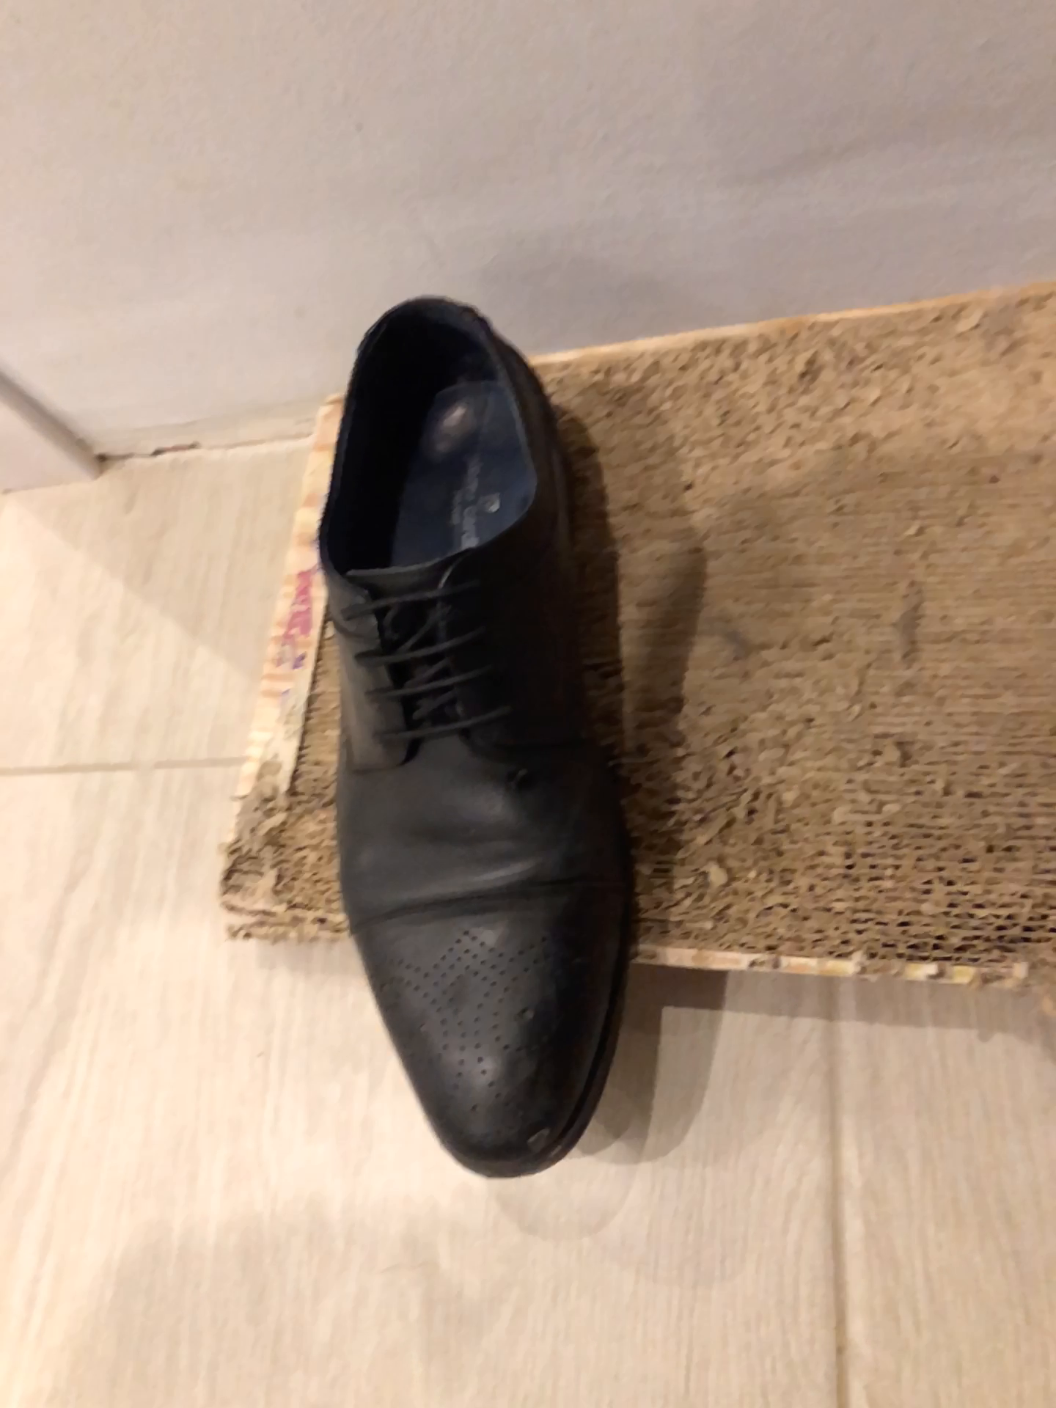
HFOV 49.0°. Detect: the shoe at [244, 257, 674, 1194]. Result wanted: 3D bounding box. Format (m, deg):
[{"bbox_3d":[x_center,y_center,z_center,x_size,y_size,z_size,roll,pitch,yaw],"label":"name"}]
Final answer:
[{"bbox_3d":[-0.020,0.007,0.383,0.090,0.100,0.281,-10,66,17],"label":"shoe"}]
